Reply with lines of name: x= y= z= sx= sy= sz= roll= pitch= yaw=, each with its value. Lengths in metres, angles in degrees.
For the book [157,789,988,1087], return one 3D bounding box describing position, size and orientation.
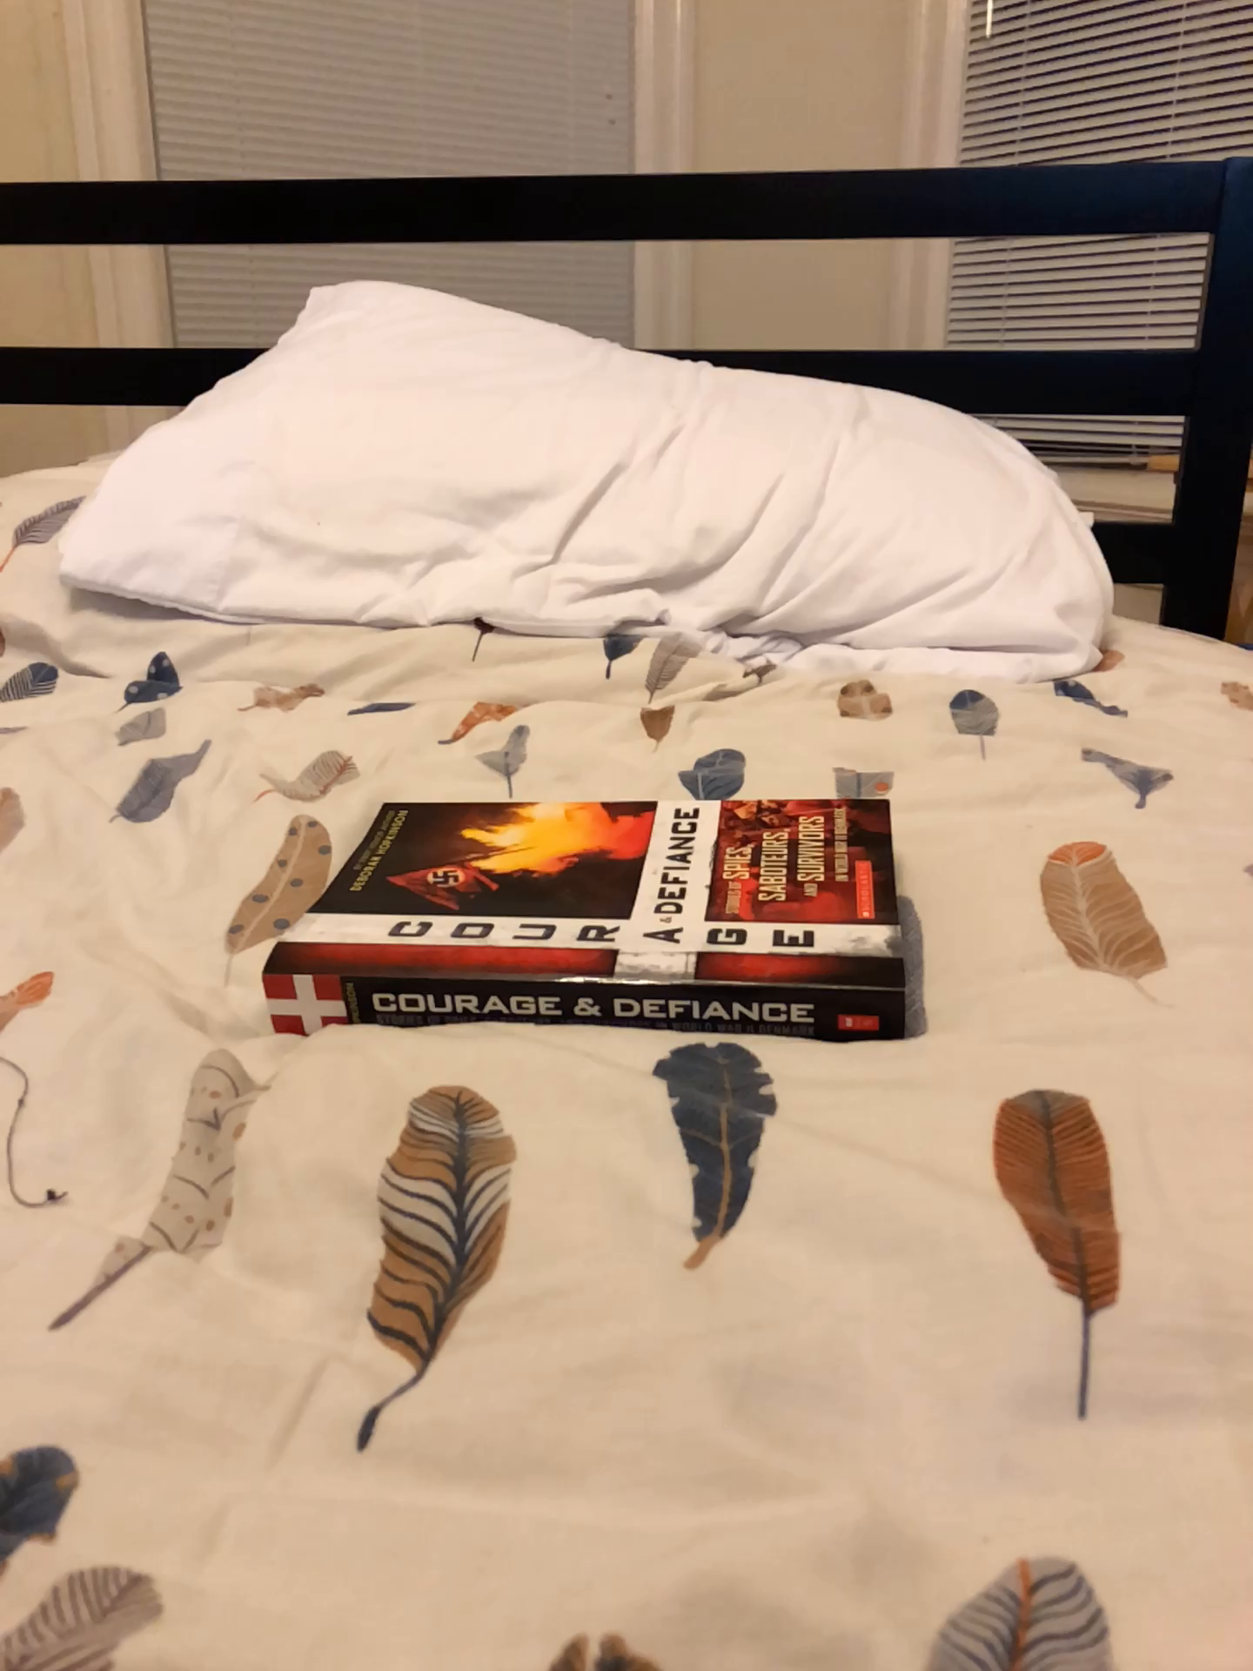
book: x=-0.010 y=0.025 z=0.477 sx=0.230 sy=0.020 sz=0.201 roll=2 pitch=18 yaw=4
